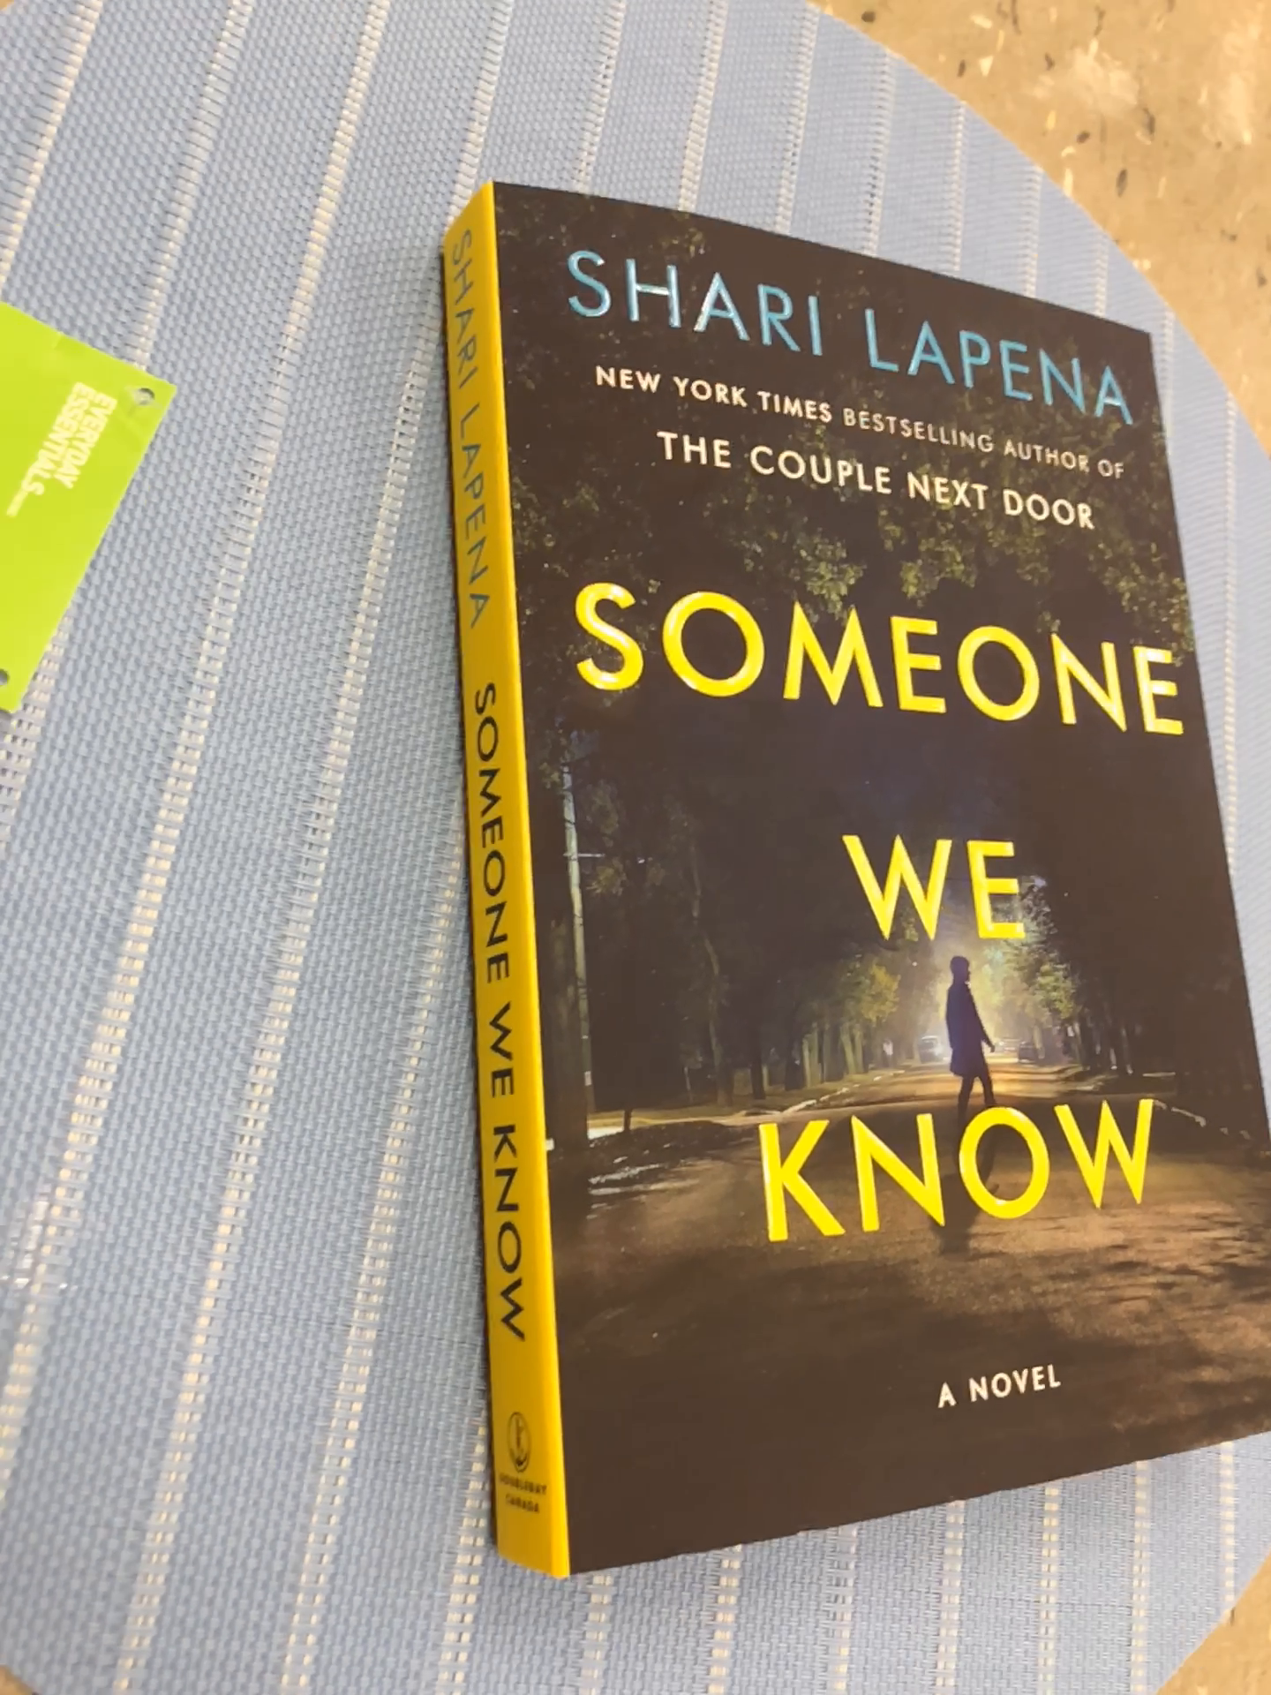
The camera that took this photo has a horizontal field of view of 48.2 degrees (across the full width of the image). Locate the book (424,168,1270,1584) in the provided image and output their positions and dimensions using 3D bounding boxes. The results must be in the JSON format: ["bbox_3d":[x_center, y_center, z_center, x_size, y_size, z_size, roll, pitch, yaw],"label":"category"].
[{"bbox_3d":[0.047,-0.002,0.268,0.162,0.030,0.224,2,77,-25],"label":"book"}]
